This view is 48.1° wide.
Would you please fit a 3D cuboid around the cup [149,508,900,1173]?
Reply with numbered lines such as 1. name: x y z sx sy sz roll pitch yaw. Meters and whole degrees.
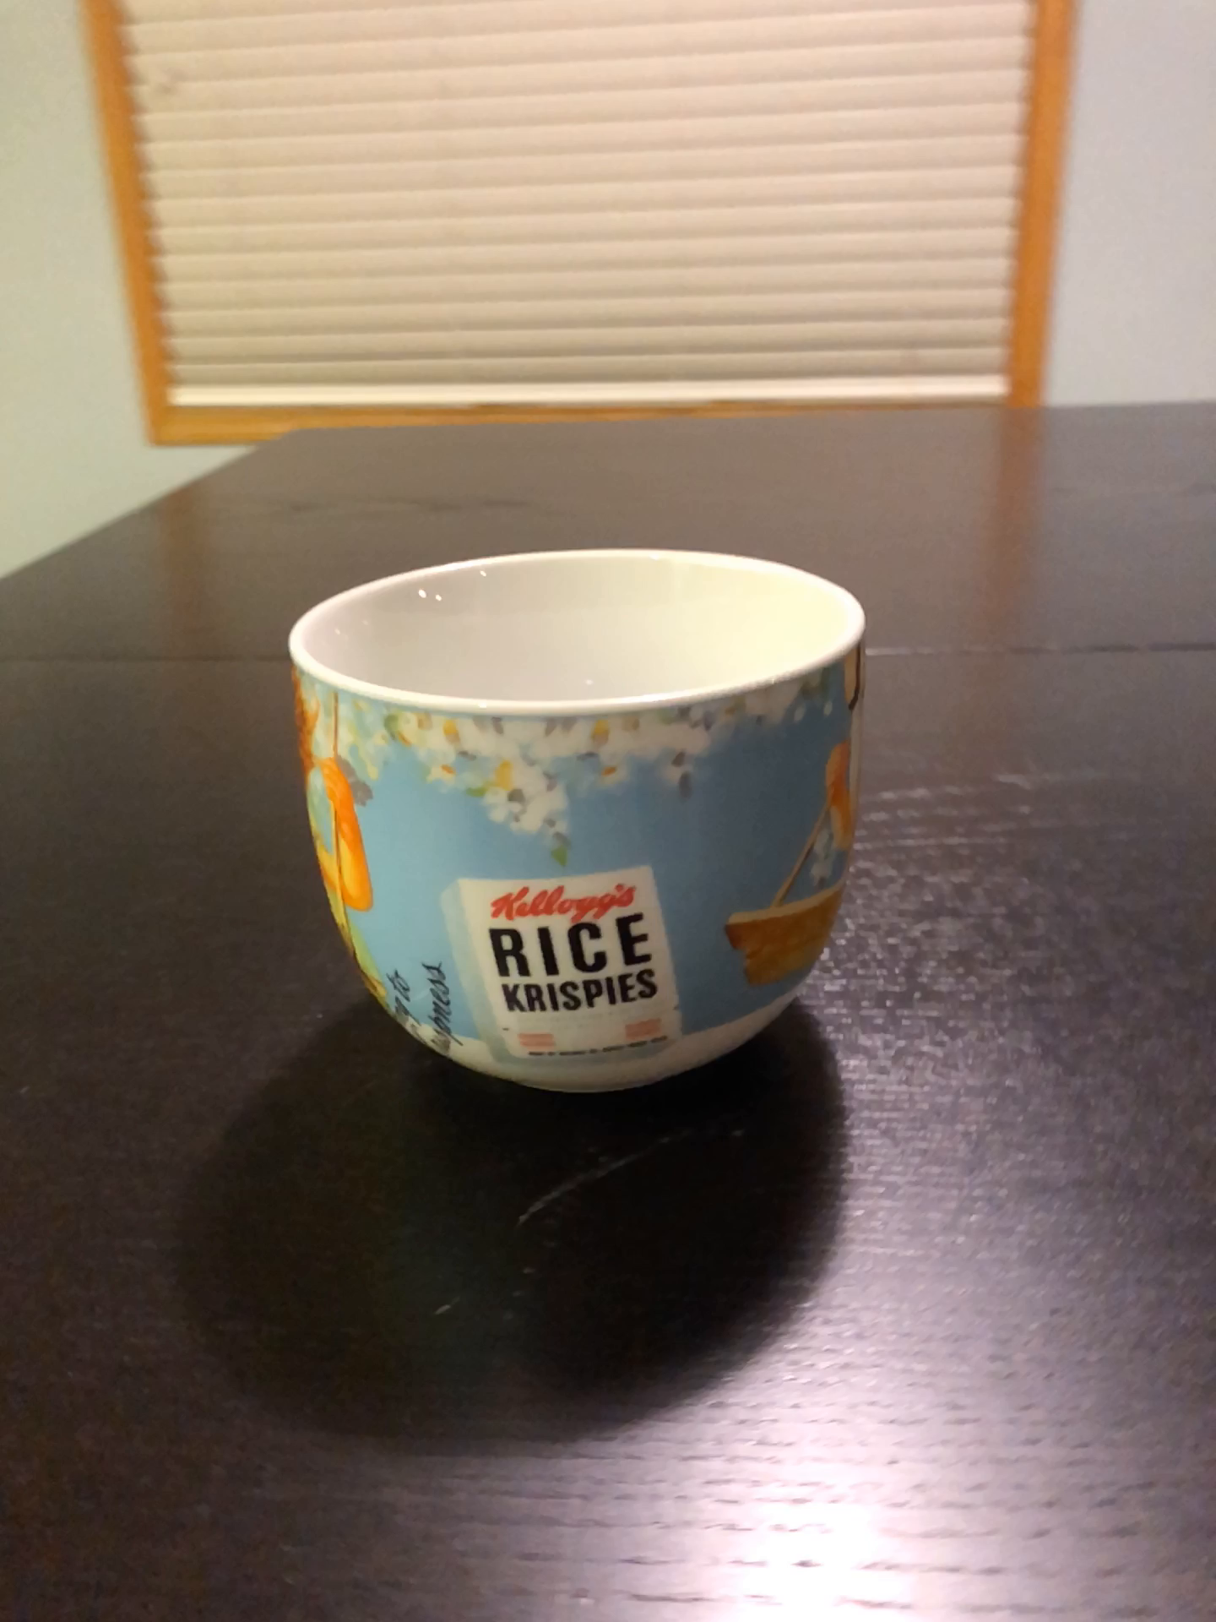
1. cup: -0.006 -0.007 0.301 0.120 0.090 0.151 1 23 6
